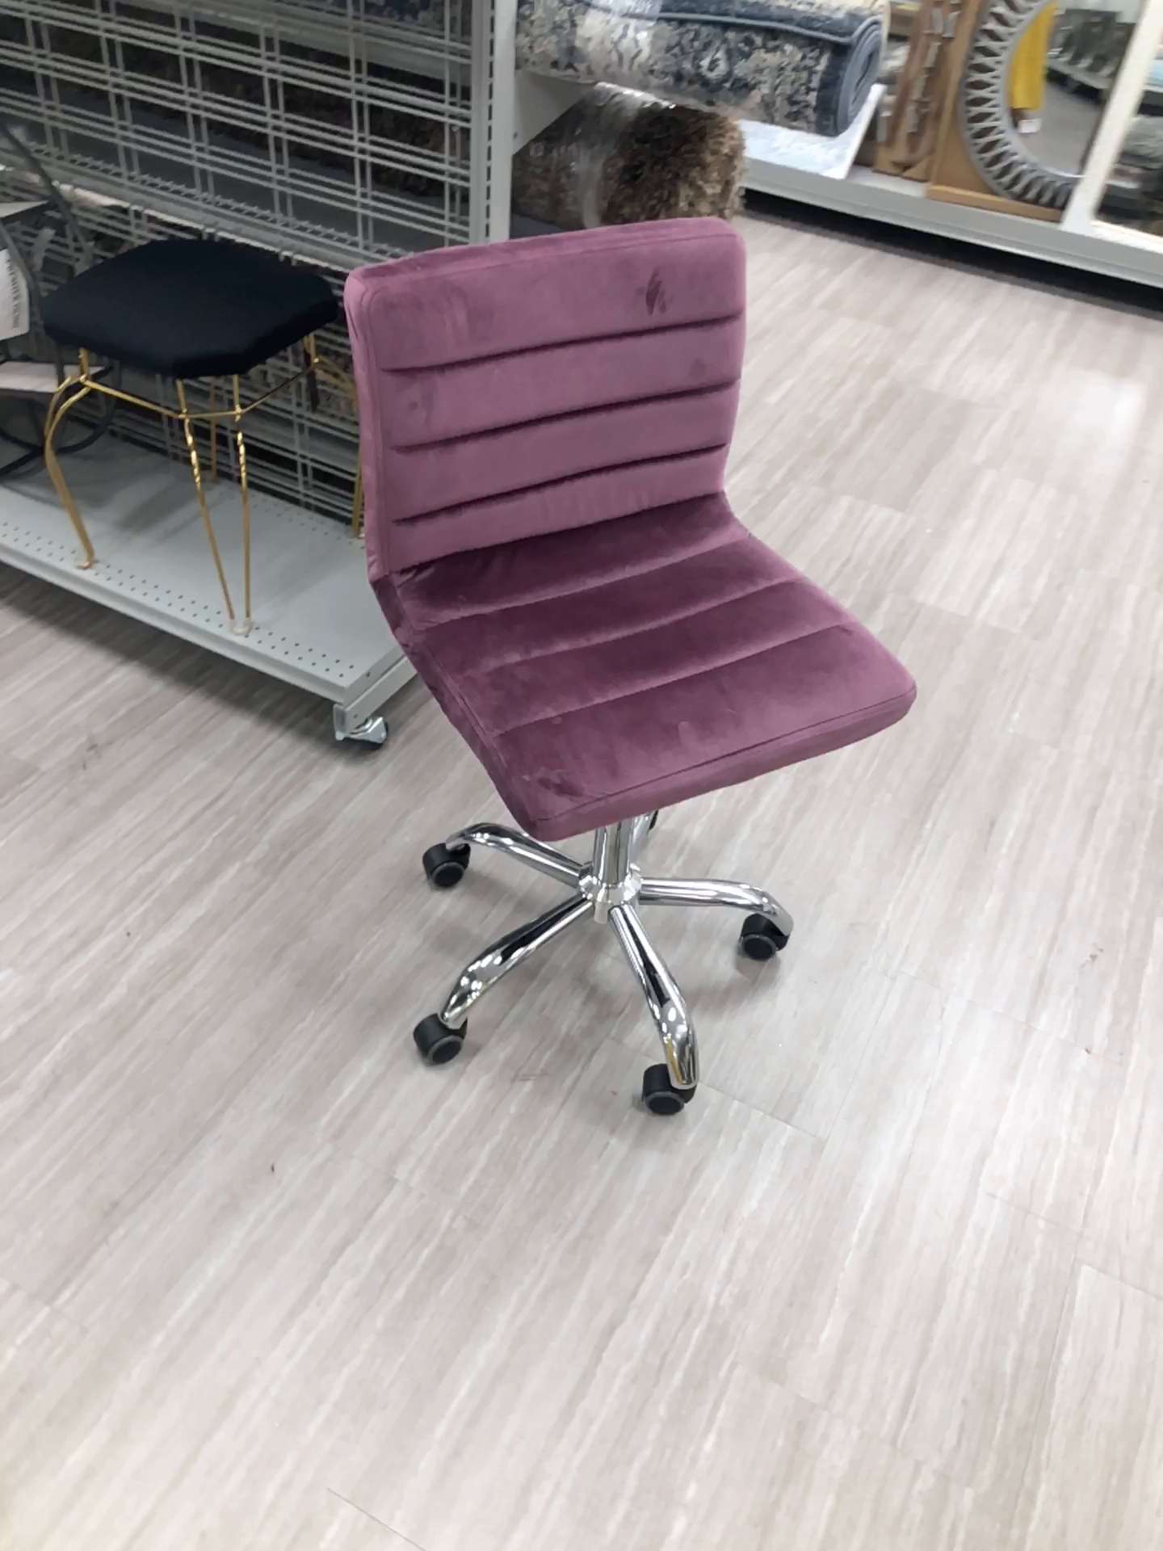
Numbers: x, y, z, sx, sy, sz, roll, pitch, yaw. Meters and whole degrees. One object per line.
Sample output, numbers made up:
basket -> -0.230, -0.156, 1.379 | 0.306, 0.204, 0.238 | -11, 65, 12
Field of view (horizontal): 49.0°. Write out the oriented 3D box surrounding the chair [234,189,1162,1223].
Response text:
chair -> 0.053, -0.089, 1.374 | 0.588, 0.800, 0.579 | -19, 48, -25
